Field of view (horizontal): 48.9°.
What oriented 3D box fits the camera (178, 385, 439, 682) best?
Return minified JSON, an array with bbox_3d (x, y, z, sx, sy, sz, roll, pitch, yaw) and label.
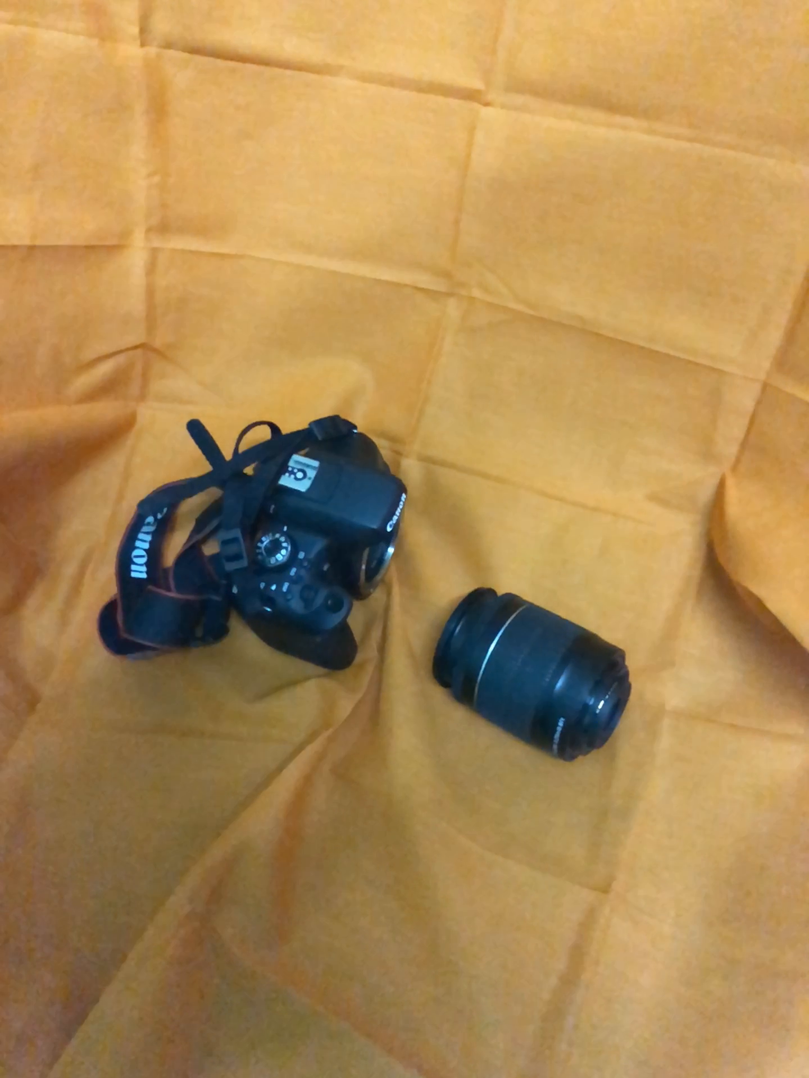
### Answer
[{"bbox_3d":[-0.048,-0.005,0.516,0.092,0.071,0.134,18,65,14],"label":"camera"}]
